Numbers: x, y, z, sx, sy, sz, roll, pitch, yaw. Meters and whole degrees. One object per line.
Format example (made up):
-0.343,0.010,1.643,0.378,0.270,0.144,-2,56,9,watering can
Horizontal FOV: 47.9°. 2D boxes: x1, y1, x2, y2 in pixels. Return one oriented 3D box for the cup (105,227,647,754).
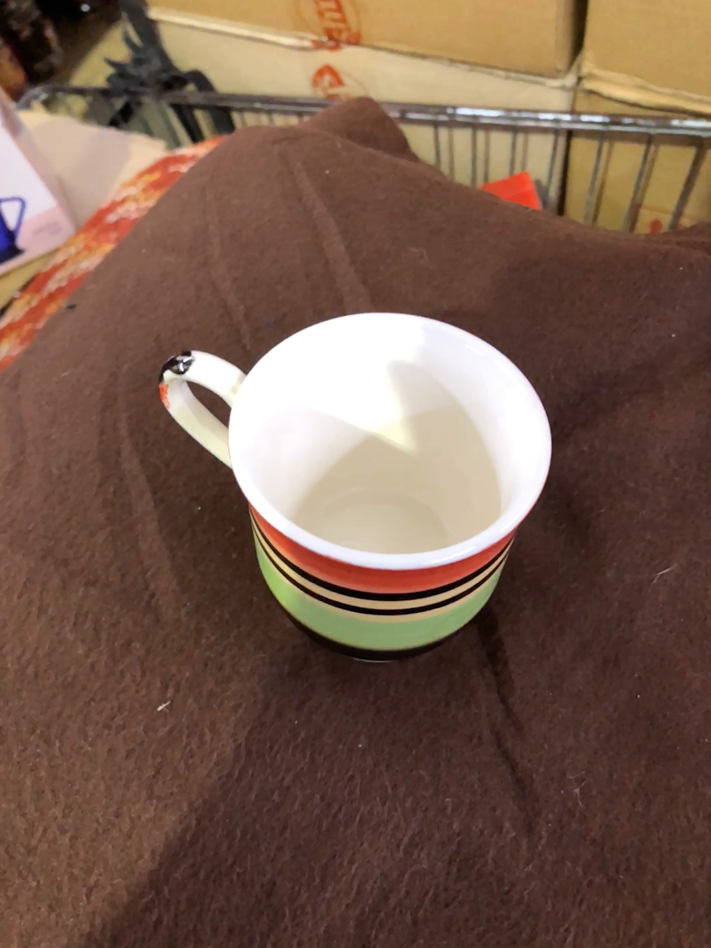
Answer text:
0.006,0.002,0.195,0.090,0.070,0.070,28,58,23,cup
